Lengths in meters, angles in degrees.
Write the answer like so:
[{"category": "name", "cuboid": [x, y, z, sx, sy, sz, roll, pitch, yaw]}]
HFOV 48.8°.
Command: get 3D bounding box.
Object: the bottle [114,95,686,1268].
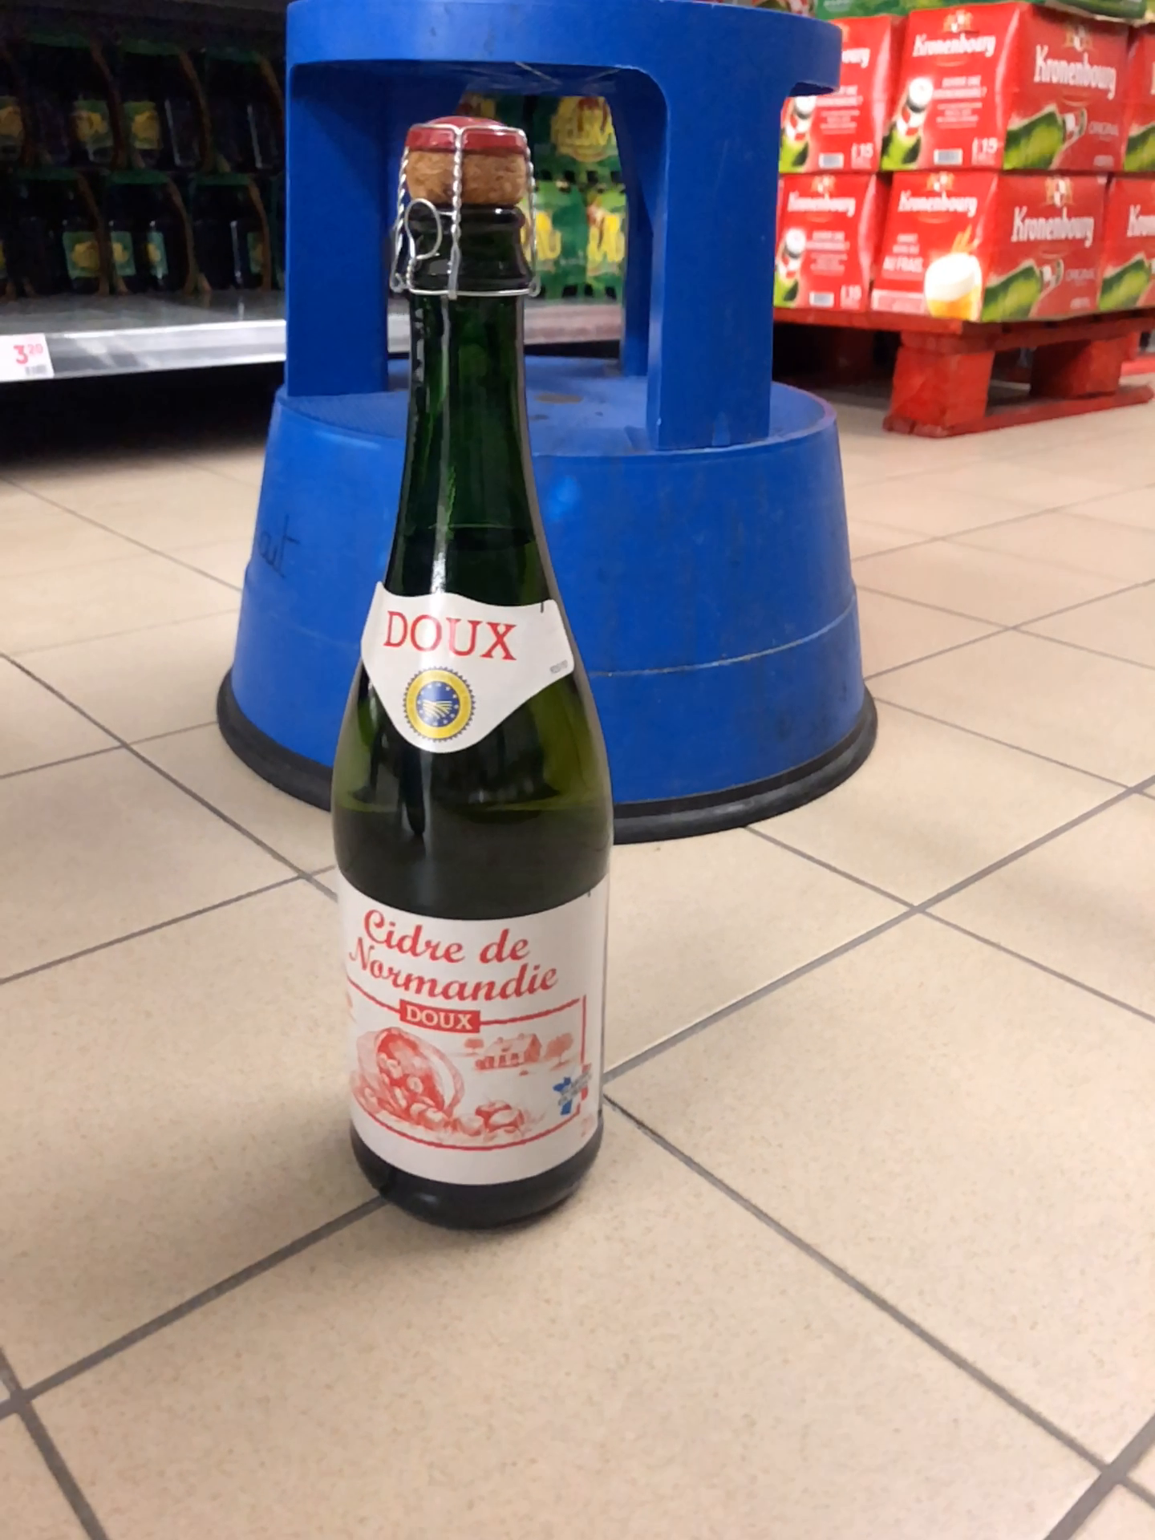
[{"category": "bottle", "cuboid": [-0.039, -0.019, 0.352, 0.100, 0.288, 0.091, 10, 25, 20]}]
